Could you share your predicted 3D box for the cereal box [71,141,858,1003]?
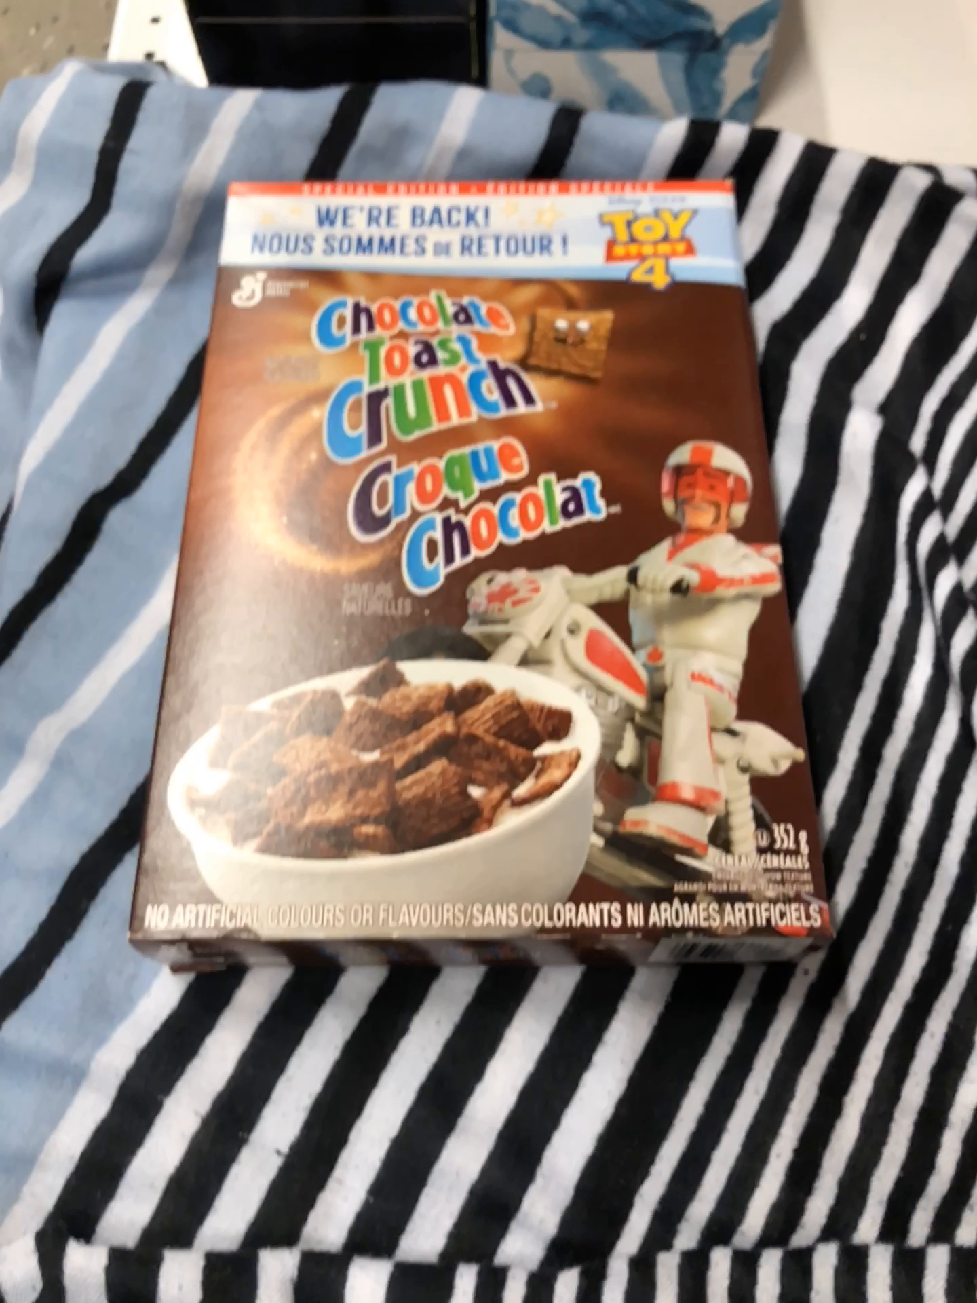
[{"bbox_3d":[-0.007,-0.039,0.379,0.210,0.060,0.300,0,67,-1],"label":"cereal box"}]
